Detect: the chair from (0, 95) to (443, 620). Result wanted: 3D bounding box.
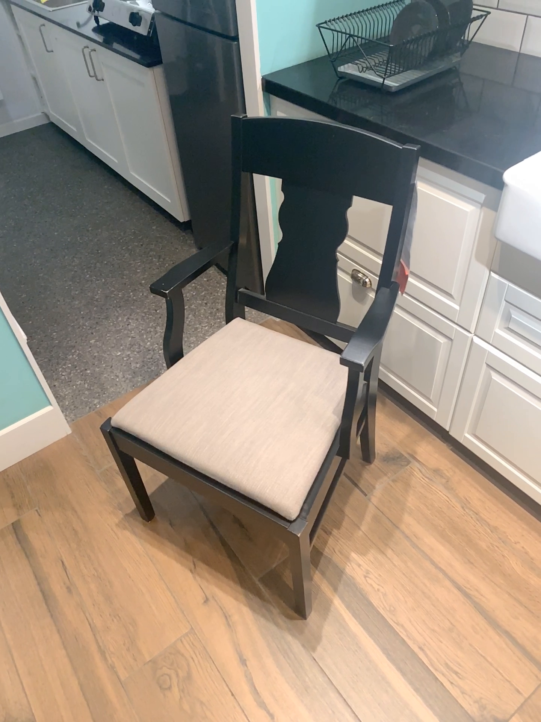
[{"bbox_3d":[-0.057,0.000,1.247,0.571,0.886,0.591,22,51,25],"label":"chair"}]
